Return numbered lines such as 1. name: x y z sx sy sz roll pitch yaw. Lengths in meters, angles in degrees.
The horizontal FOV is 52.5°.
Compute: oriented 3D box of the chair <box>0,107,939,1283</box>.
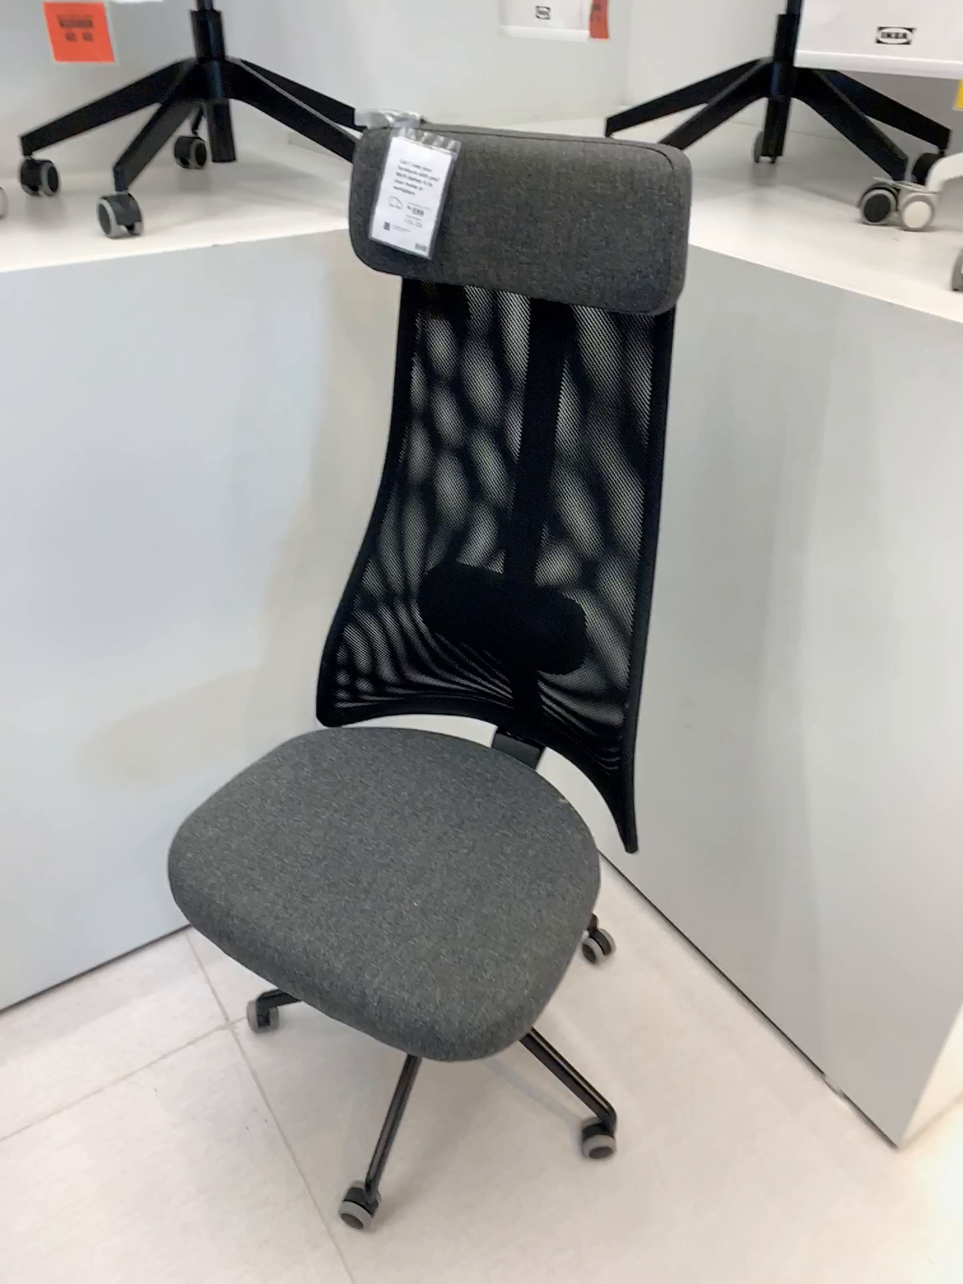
1. chair: -0.030 0.093 1.235 0.661 1.264 0.672 23 40 30
